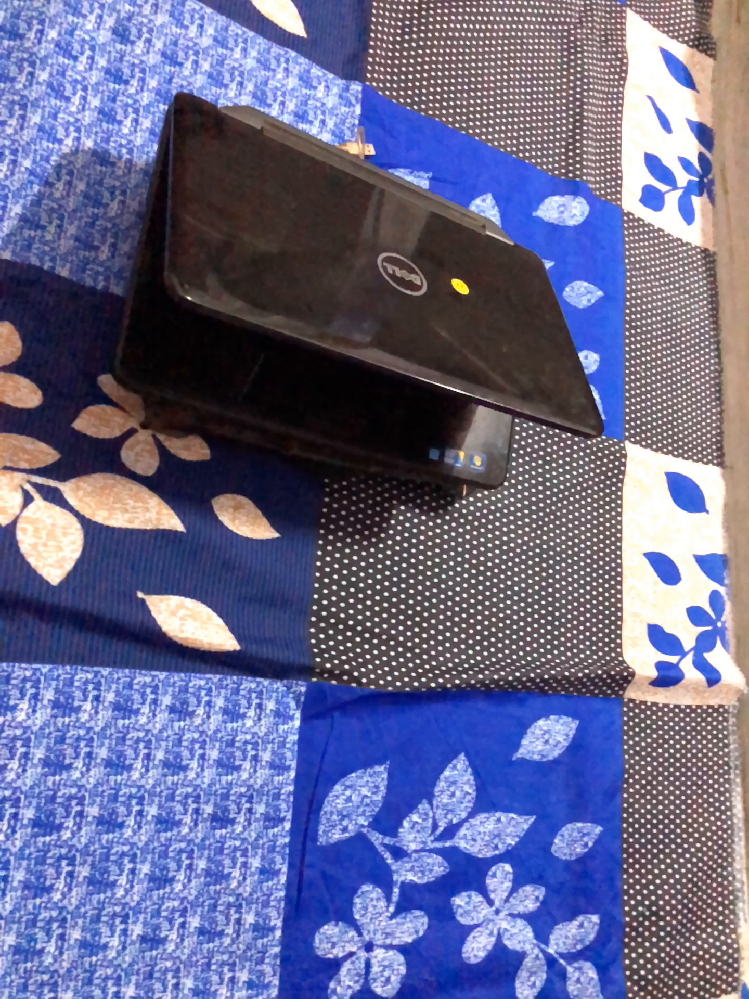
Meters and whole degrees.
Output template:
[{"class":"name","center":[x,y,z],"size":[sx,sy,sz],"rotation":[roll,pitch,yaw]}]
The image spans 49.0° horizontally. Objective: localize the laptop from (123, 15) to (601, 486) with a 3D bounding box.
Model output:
[{"class":"laptop","center":[0.010,-0.174,0.675],"size":[0.363,0.092,0.236],"rotation":[14,78,-29]}]
